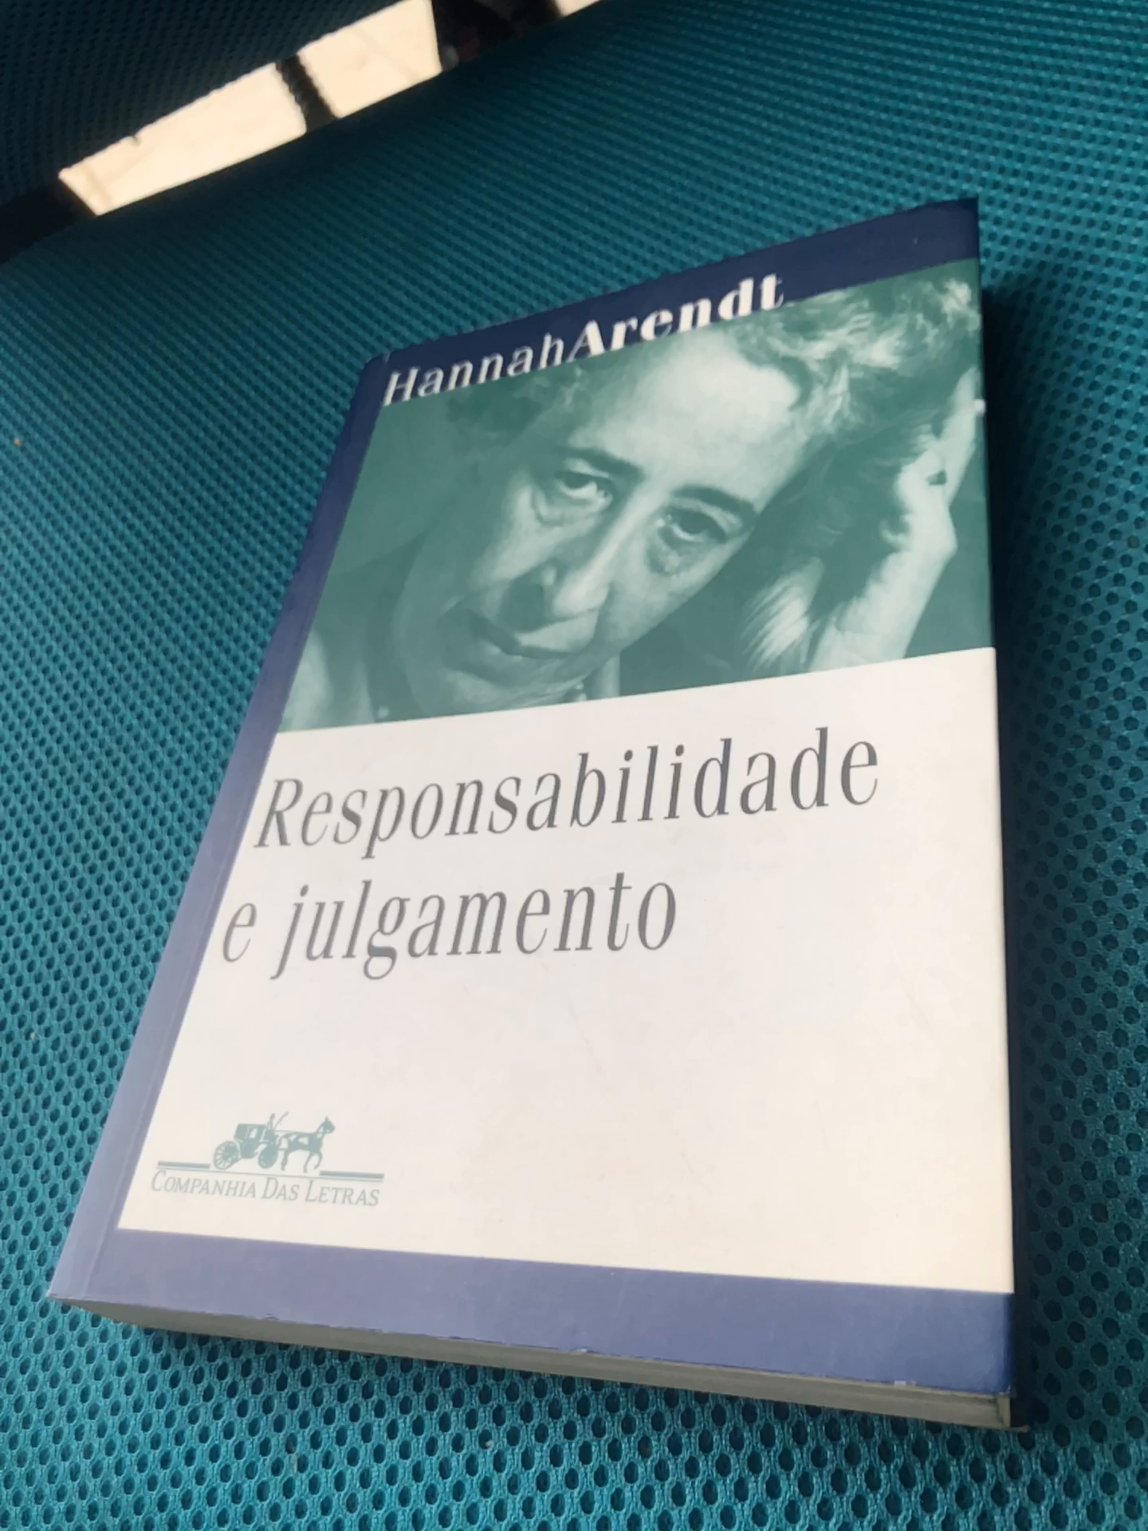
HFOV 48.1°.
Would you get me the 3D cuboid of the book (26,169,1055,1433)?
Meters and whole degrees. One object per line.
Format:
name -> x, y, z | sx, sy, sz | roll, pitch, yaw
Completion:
book -> 0.004, -0.008, 0.230 | 0.142, 0.034, 0.209 | -6, 56, 25
